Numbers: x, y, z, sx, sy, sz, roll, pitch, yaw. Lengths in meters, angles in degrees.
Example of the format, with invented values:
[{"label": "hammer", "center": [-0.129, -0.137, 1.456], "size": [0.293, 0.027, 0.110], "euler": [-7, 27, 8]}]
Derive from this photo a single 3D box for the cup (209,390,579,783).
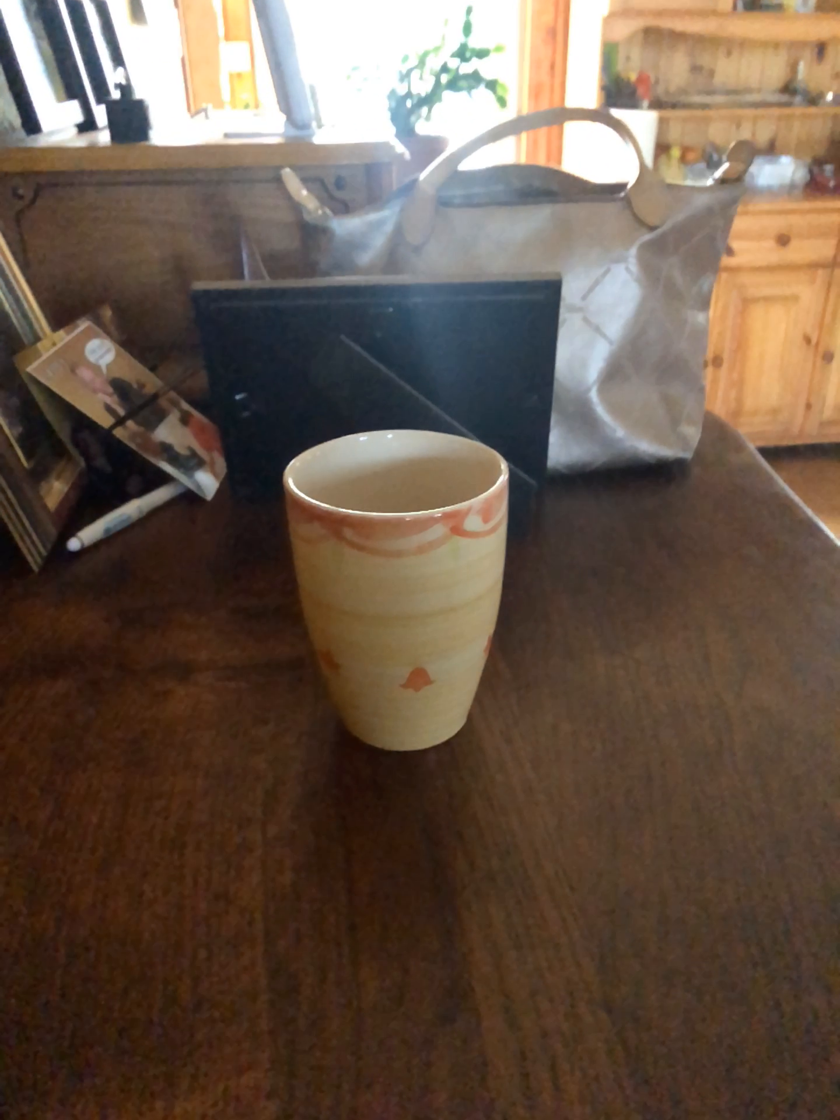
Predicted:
[{"label": "cup", "center": [-0.014, 0.001, 0.387], "size": [0.100, 0.099, 0.120], "euler": [-16, 31, -26]}]
